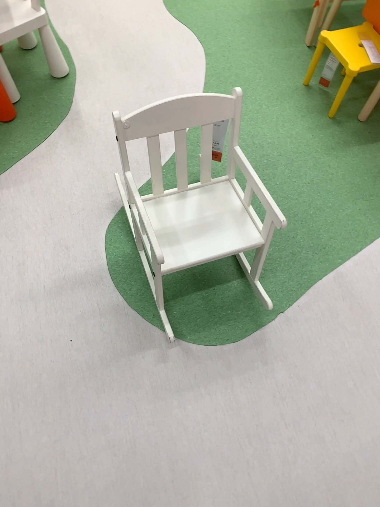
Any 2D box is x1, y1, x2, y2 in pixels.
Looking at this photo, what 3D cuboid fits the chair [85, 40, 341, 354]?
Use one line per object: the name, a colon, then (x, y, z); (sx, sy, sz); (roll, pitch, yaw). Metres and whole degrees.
chair: (0.005, -0.165, 1.184); (0.410, 0.499, 0.731); (-16, 64, -12)
